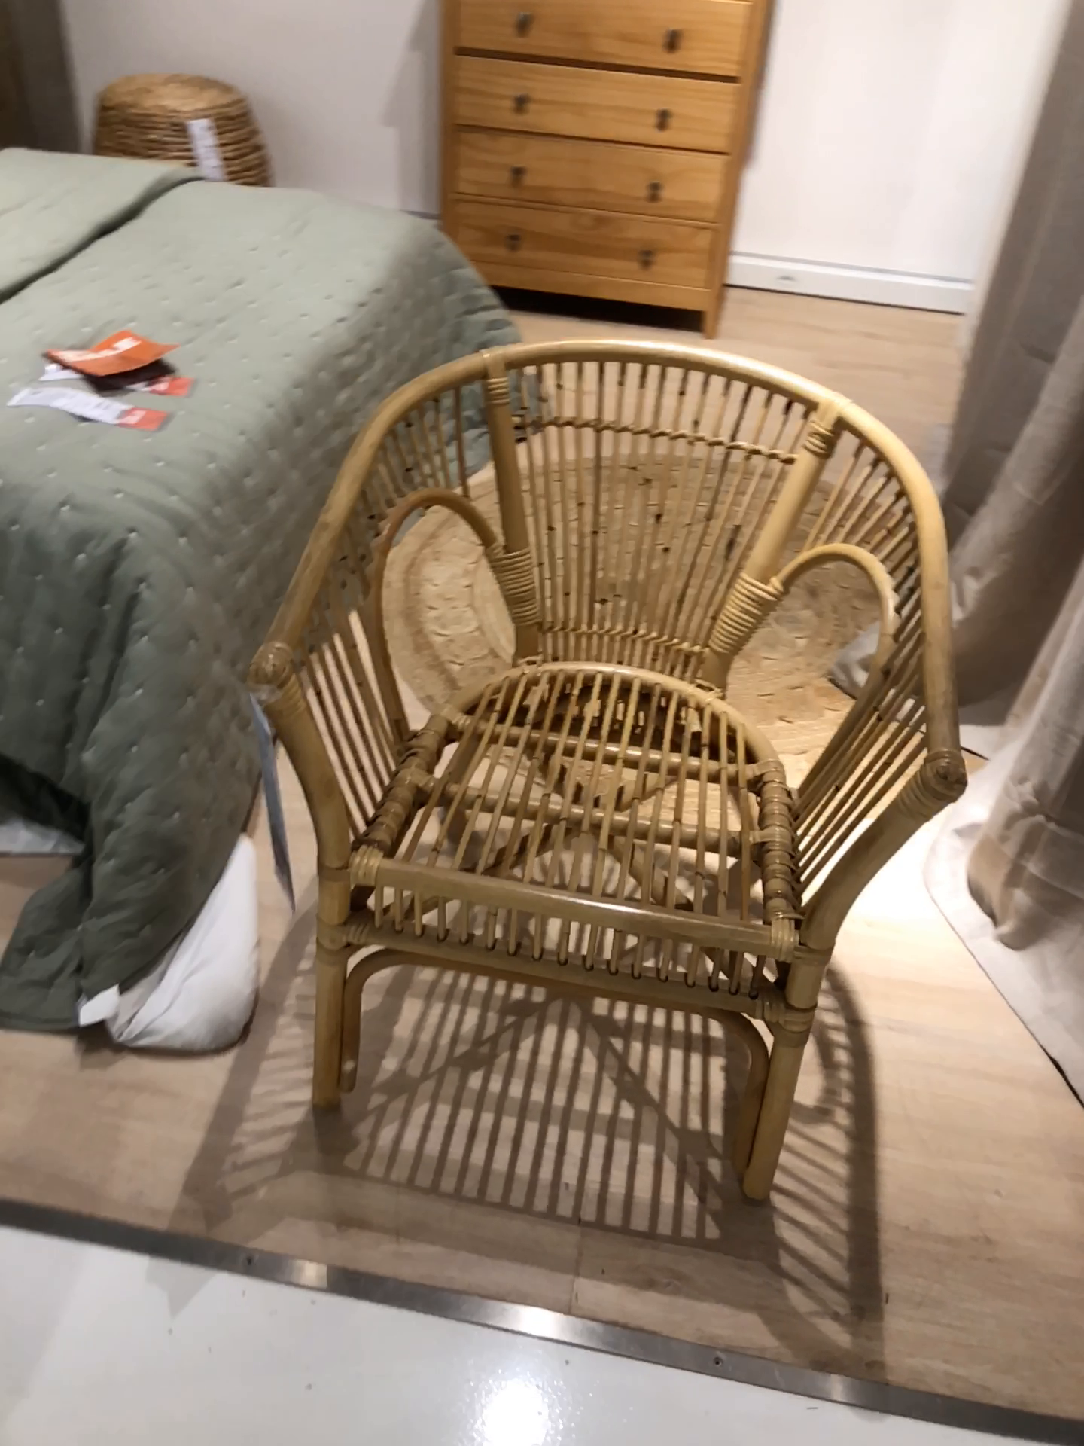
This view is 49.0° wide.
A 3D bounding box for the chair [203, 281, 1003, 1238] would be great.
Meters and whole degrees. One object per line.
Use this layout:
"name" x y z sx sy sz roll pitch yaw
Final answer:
"chair" 0.072 0.024 1.342 0.590 0.754 0.635 10 39 7
